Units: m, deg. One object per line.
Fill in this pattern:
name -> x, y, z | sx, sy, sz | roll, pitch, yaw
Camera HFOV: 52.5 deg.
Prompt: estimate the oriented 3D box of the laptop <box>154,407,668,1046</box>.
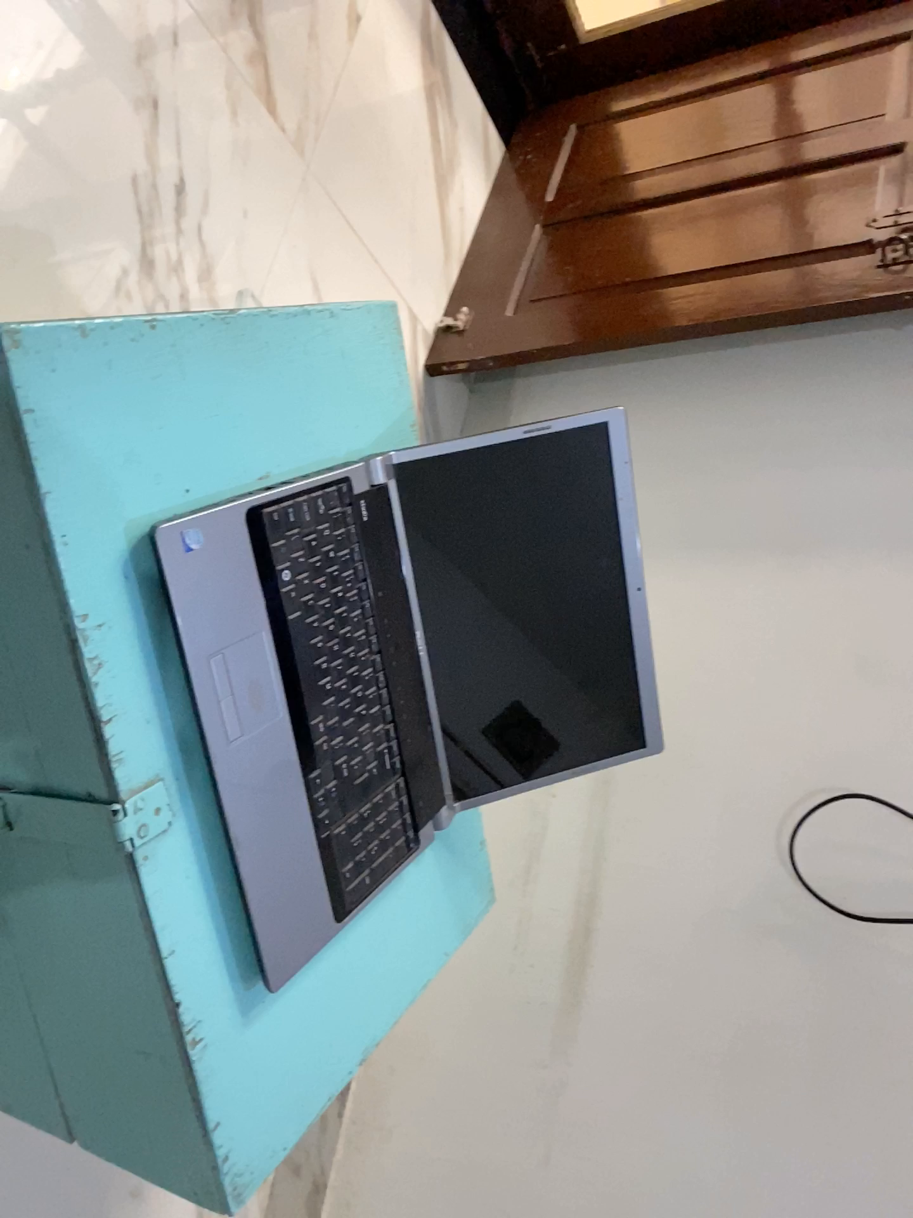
laptop -> 0.014, 0.055, 0.858 | 0.480, 0.178, 0.389 | -33, 118, -54
